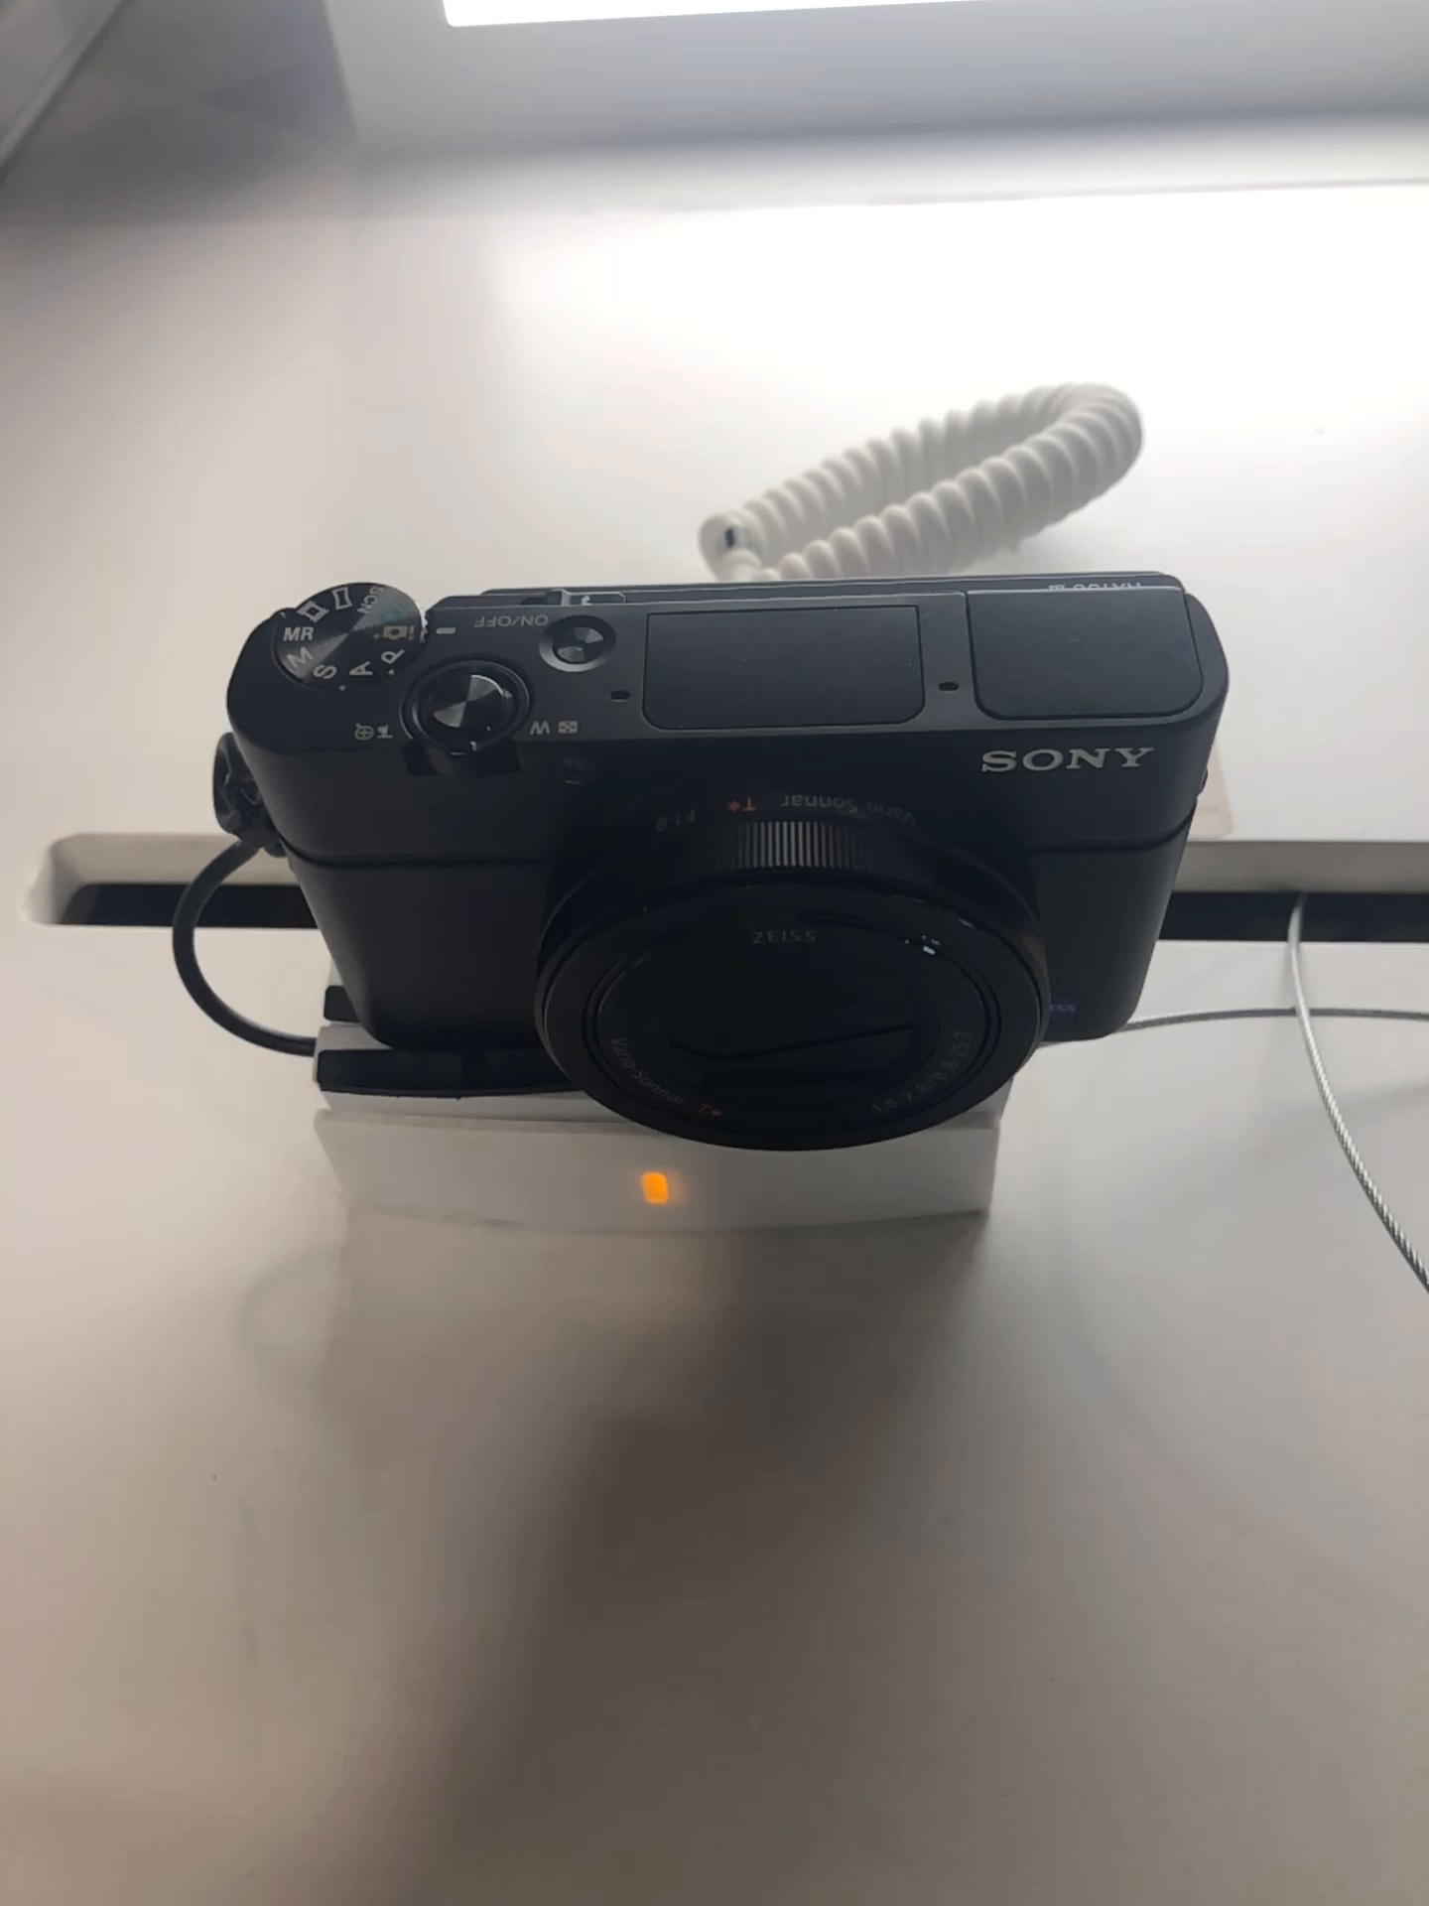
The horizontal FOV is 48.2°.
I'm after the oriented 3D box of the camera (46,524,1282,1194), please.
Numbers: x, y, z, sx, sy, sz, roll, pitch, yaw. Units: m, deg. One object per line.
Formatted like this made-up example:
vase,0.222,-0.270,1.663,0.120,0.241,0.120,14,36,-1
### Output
camera,-0.003,-0.007,0.164,0.102,0.051,0.041,-2,51,4
